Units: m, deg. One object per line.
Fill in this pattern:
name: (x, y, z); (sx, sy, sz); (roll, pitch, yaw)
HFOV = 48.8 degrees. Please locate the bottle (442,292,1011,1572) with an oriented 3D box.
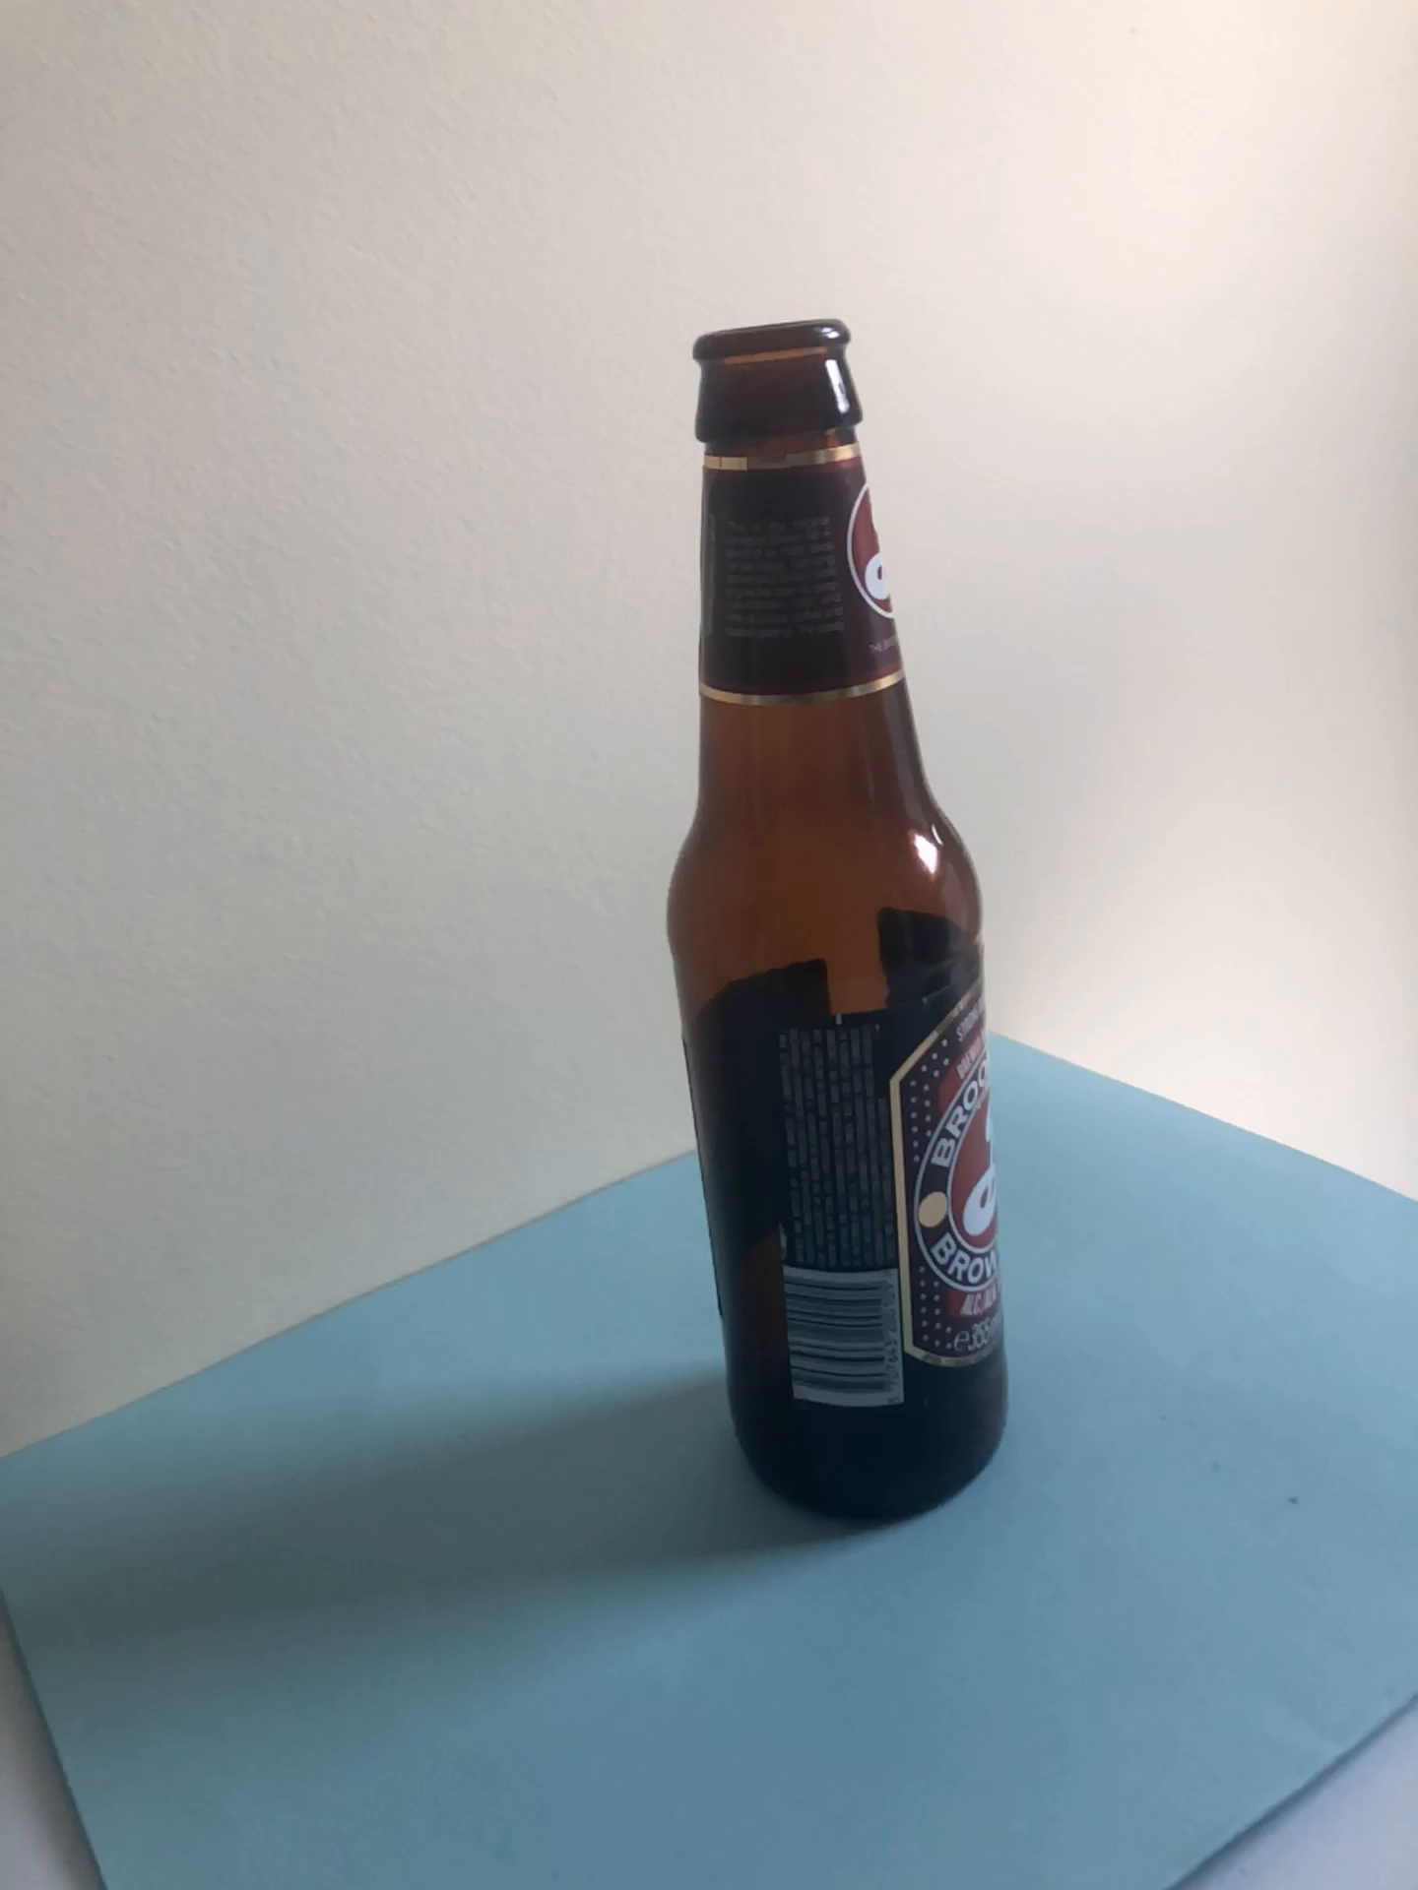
bottle: (0.015, 0.001, 0.304); (0.070, 0.229, 0.070); (-5, 22, 2)
